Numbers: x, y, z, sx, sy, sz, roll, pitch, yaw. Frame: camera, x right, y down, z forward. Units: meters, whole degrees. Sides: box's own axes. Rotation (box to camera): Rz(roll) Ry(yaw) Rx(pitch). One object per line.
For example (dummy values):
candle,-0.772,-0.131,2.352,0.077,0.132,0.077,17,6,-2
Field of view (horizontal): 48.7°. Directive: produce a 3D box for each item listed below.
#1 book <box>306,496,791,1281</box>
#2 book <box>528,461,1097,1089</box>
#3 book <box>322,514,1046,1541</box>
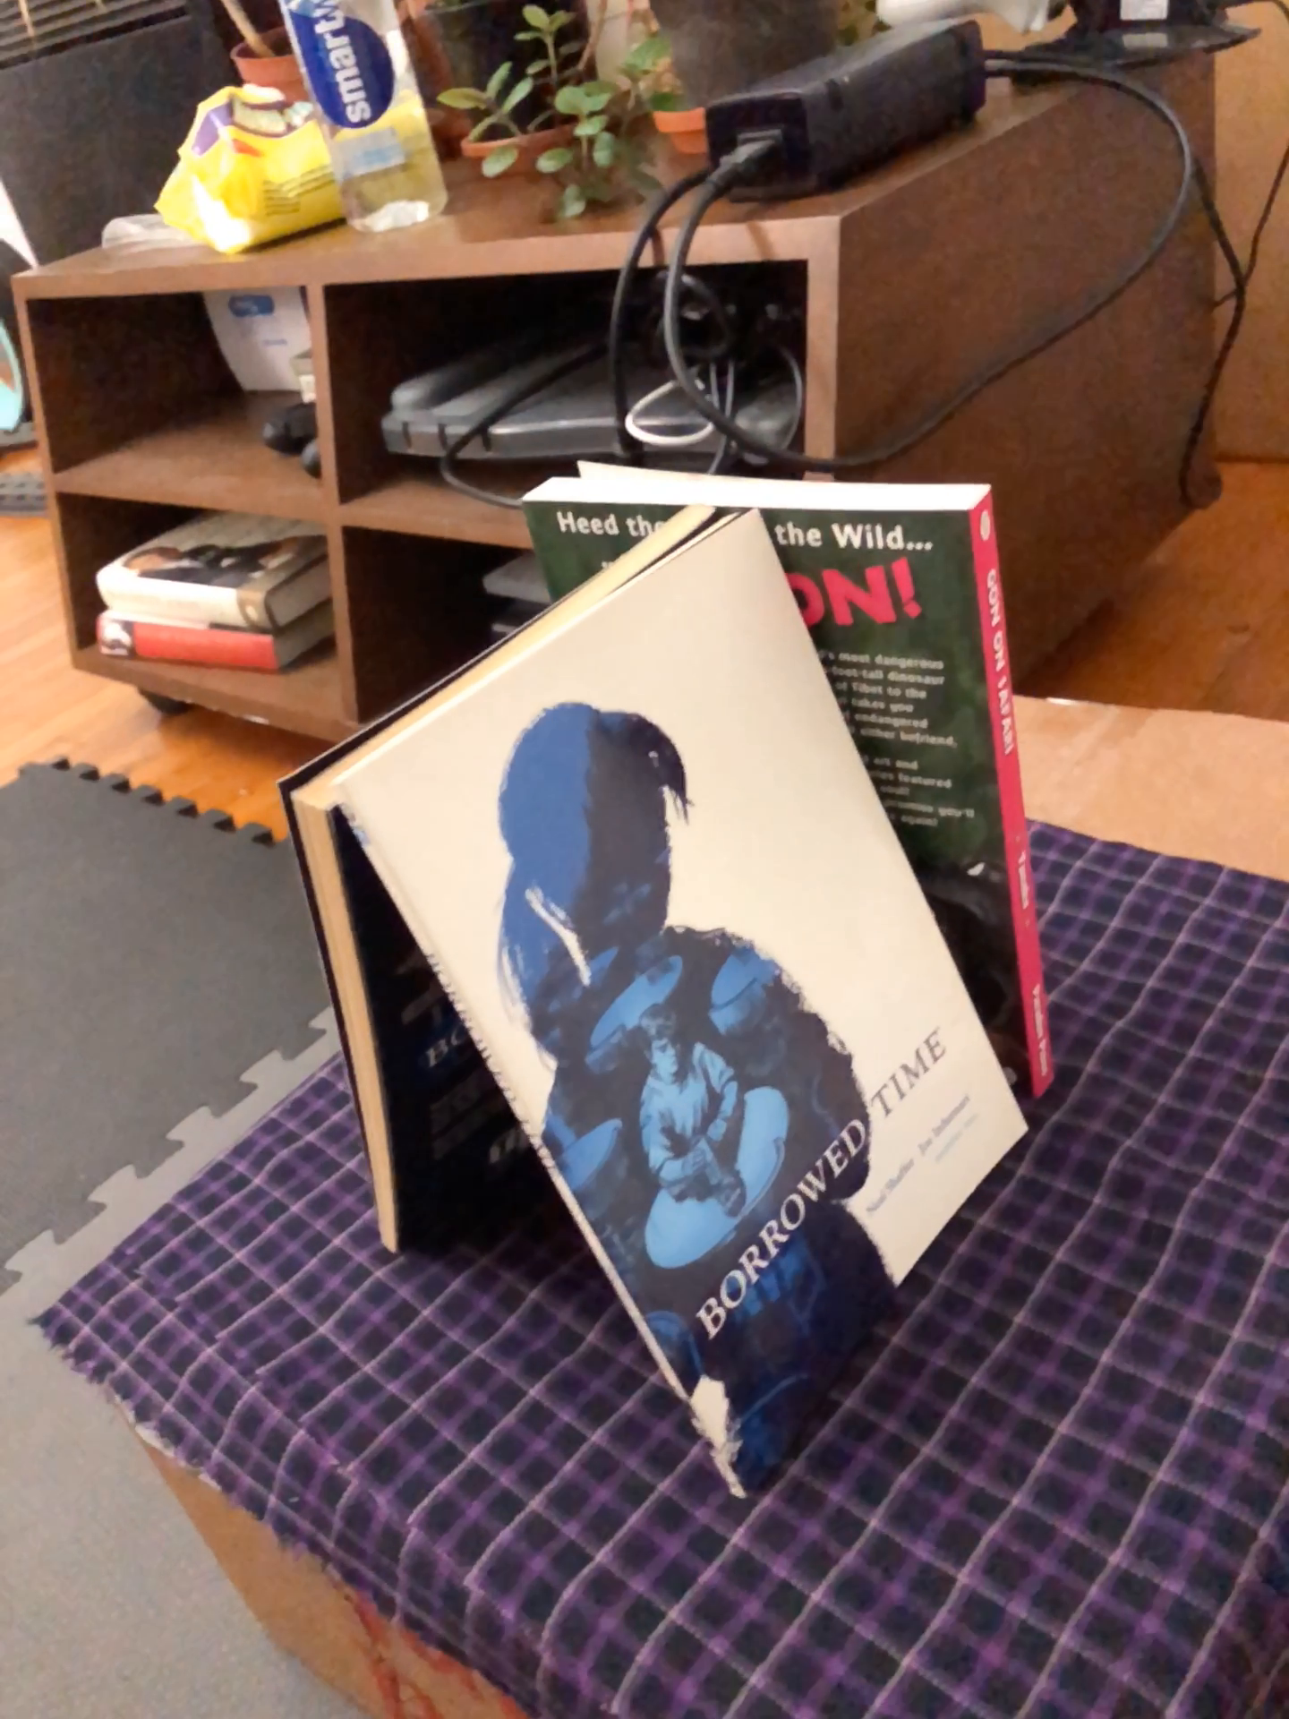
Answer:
book,-0.020,0.017,0.398,0.010,0.199,0.150,34,54,25
book,0.053,-0.023,0.418,0.140,0.189,0.020,14,49,37
book,0.026,0.036,0.345,0.010,0.199,0.140,-6,27,49
